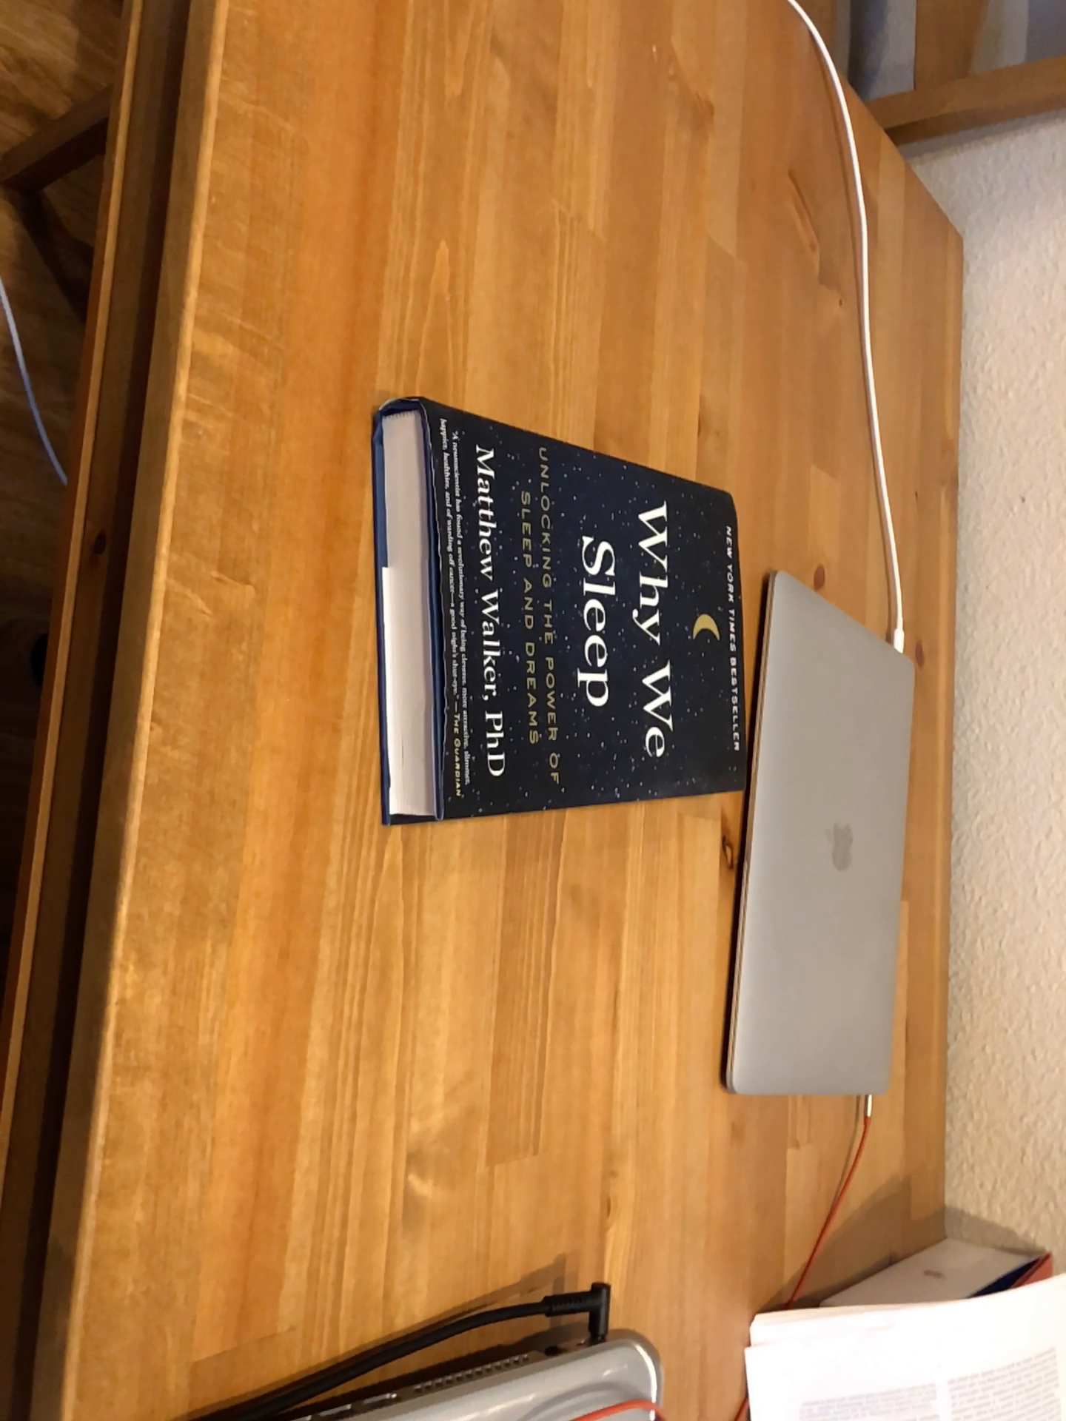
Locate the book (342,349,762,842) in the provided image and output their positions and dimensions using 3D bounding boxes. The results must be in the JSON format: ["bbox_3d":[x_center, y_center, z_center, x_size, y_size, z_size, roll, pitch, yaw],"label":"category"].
[{"bbox_3d":[0.023,-0.039,0.513,0.241,0.040,0.170,0,88,-52],"label":"book"}]
